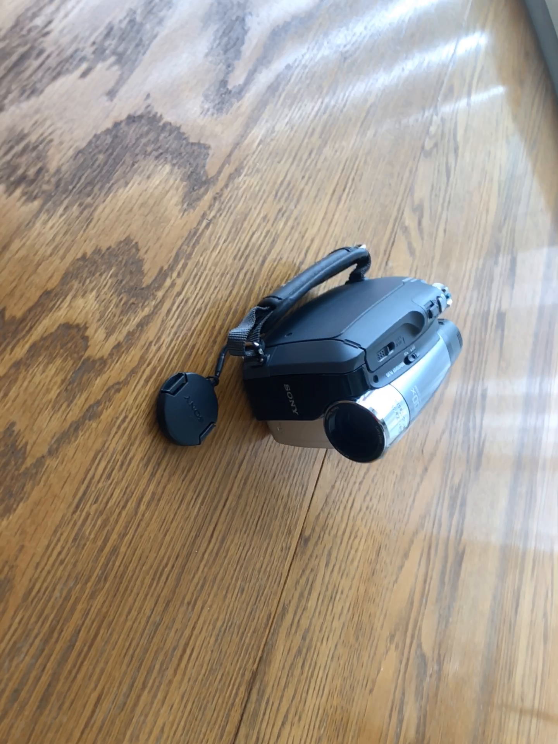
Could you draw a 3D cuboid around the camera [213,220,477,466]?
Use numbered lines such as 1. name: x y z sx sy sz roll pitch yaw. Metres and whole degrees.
1. camera: 0.040 -0.017 0.318 0.112 0.072 0.079 -39 116 -46
